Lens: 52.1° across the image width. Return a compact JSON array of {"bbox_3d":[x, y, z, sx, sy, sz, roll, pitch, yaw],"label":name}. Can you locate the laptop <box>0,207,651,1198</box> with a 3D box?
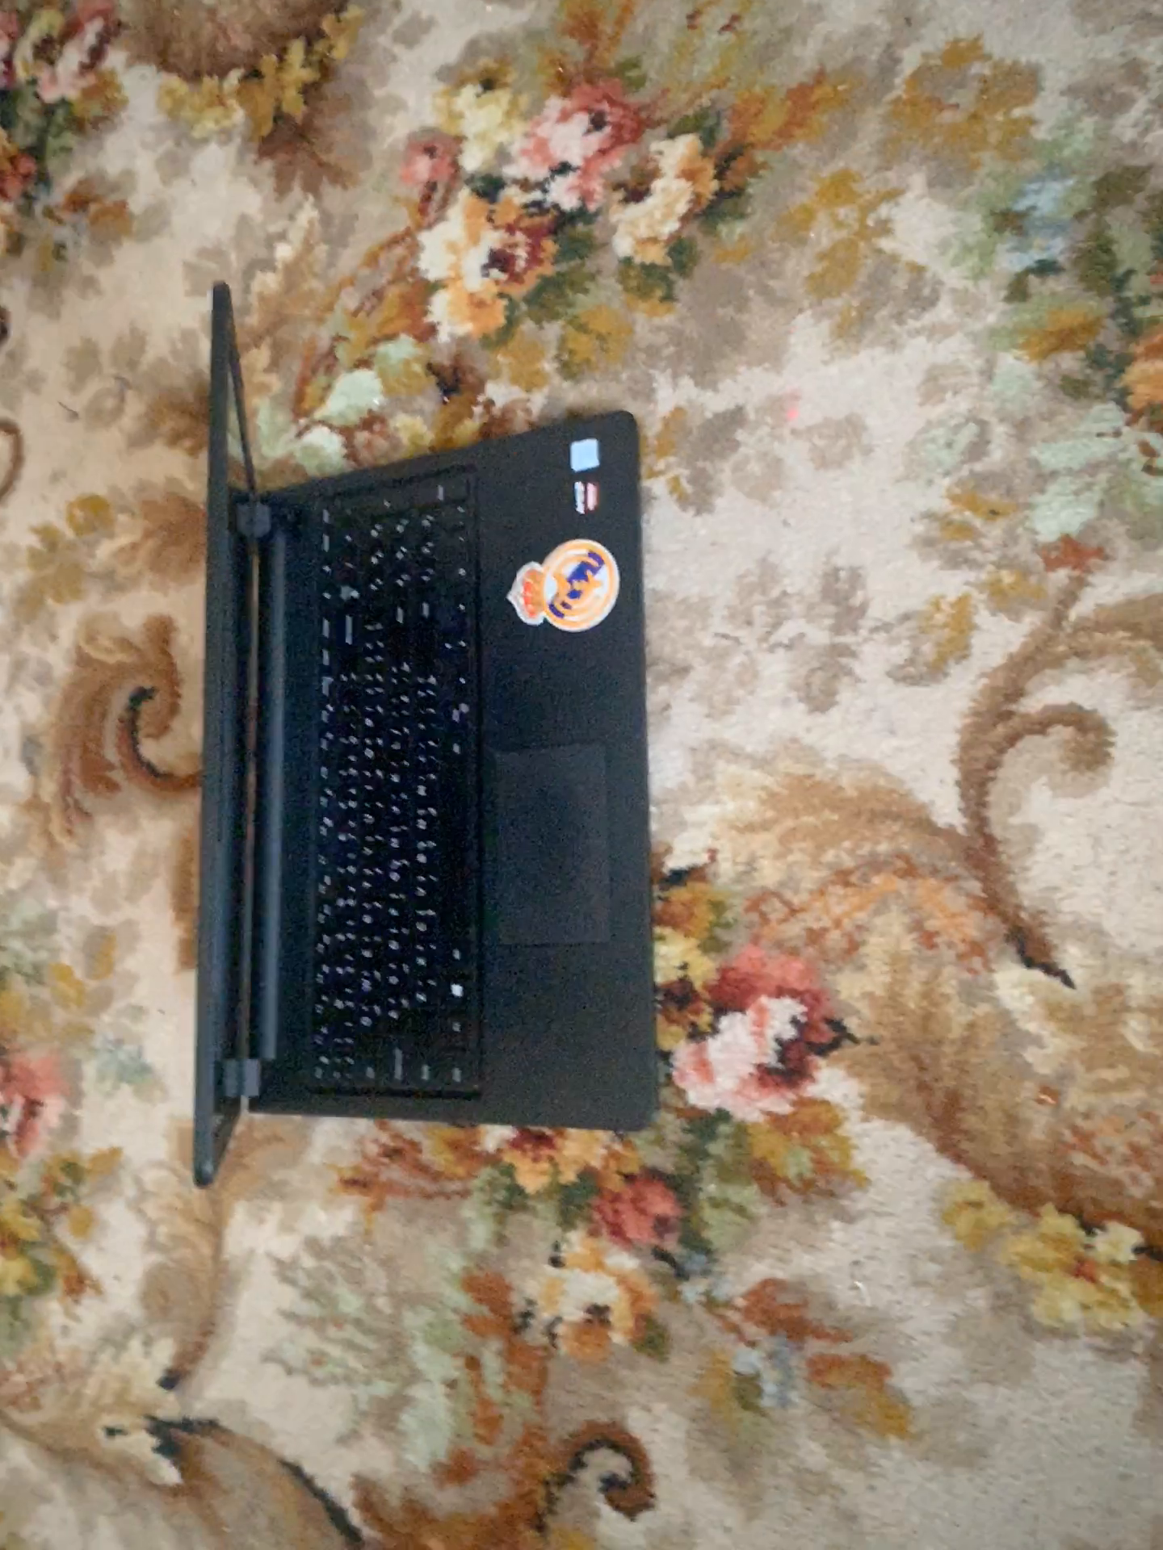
[{"bbox_3d":[-0.124,-0.014,0.571,0.252,0.193,0.367,-6,79,26],"label":"laptop"}]
